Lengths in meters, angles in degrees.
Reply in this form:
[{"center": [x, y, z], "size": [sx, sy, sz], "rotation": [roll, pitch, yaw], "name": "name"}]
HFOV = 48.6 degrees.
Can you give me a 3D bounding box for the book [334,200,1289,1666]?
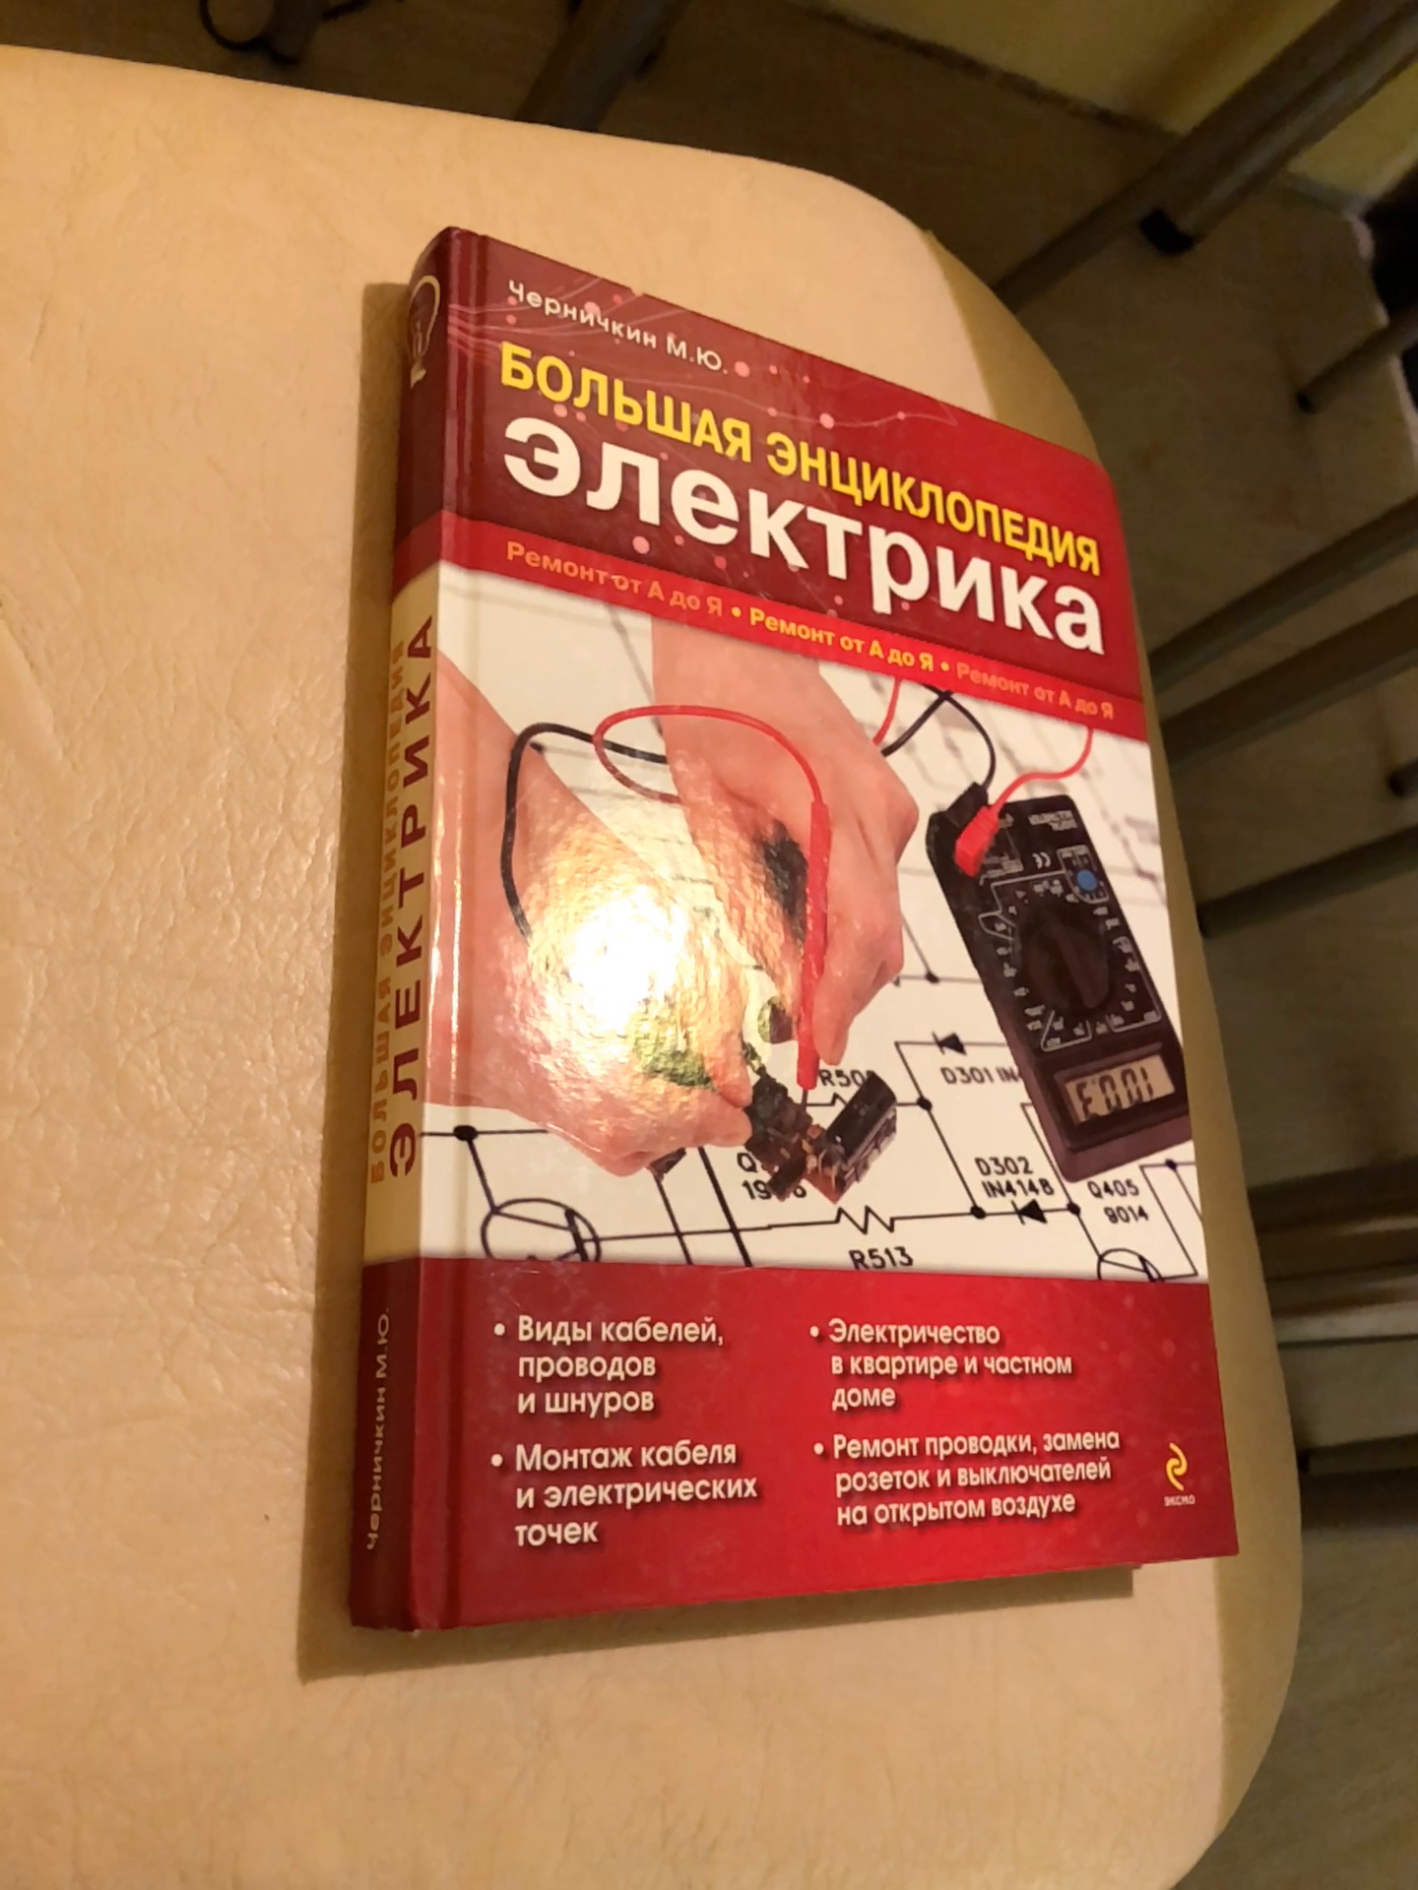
[{"center": [0.023, -0.004, 0.300], "size": [0.173, 0.030, 0.241], "rotation": [9, 70, -29], "name": "book"}]
